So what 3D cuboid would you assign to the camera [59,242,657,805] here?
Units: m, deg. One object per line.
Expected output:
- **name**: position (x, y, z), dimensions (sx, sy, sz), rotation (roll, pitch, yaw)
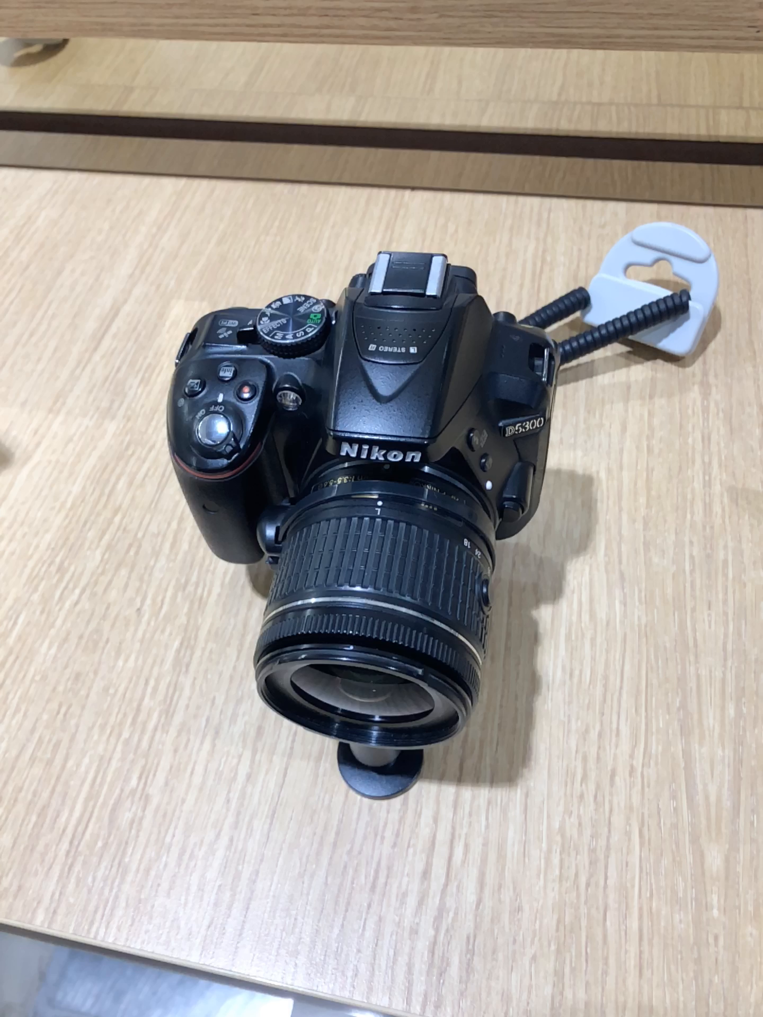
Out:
- **camera**: position (0.005, 0.004, 0.240), dimensions (0.120, 0.102, 0.111), rotation (5, 54, 9)
